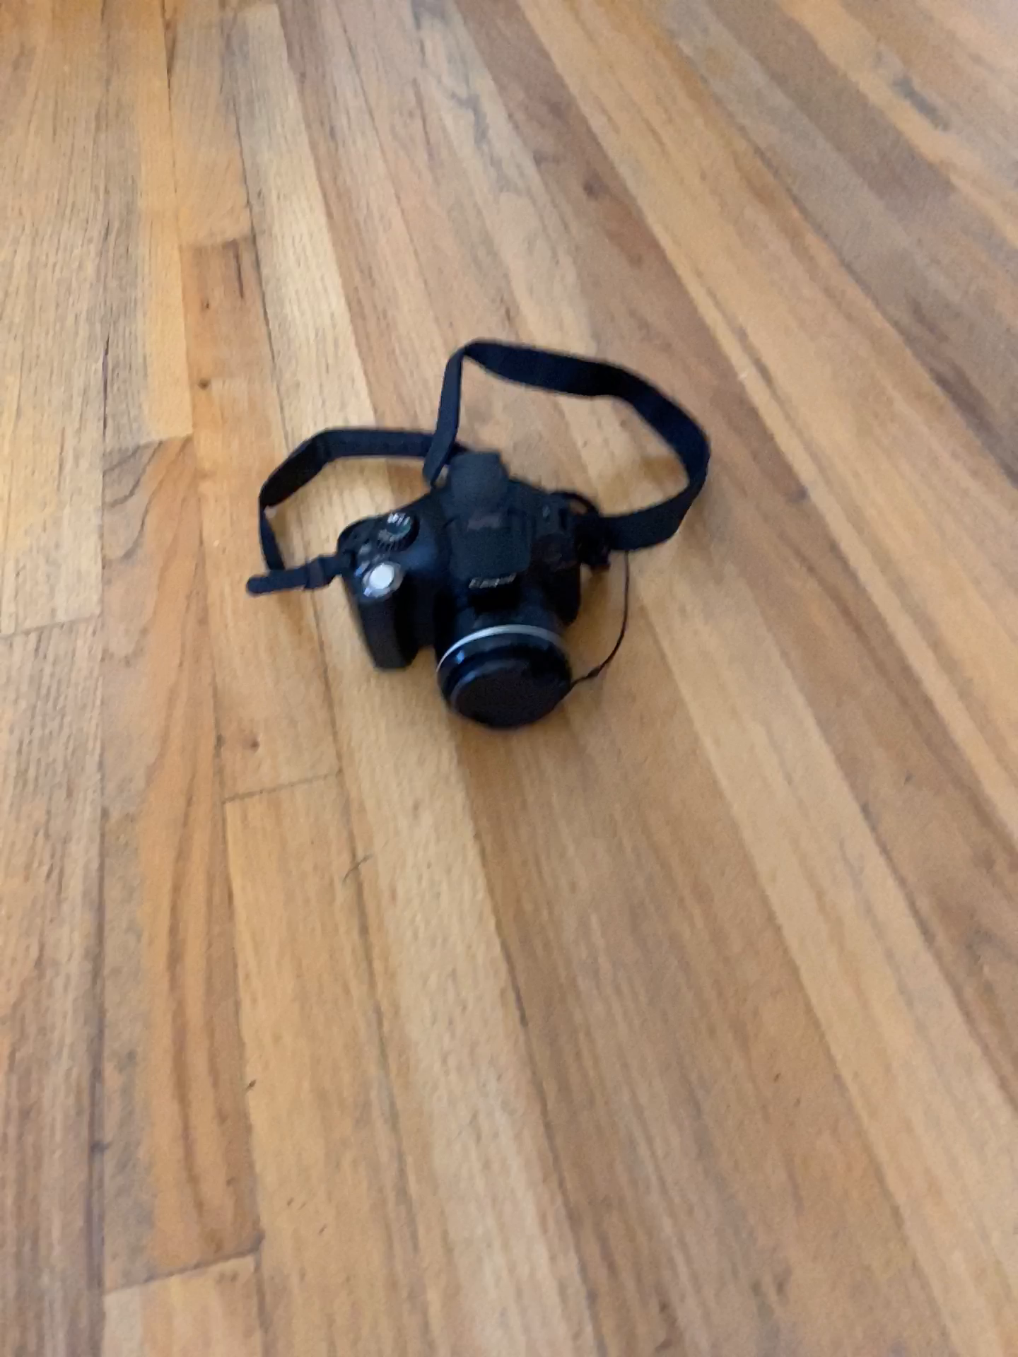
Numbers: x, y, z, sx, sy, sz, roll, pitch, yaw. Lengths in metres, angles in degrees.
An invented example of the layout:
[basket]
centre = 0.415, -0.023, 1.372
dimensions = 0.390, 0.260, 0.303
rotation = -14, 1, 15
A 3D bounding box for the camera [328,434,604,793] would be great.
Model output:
[camera]
centre = -0.020, -0.032, 0.524
dimensions = 0.110, 0.110, 0.121
rotation = -11, 53, -3
